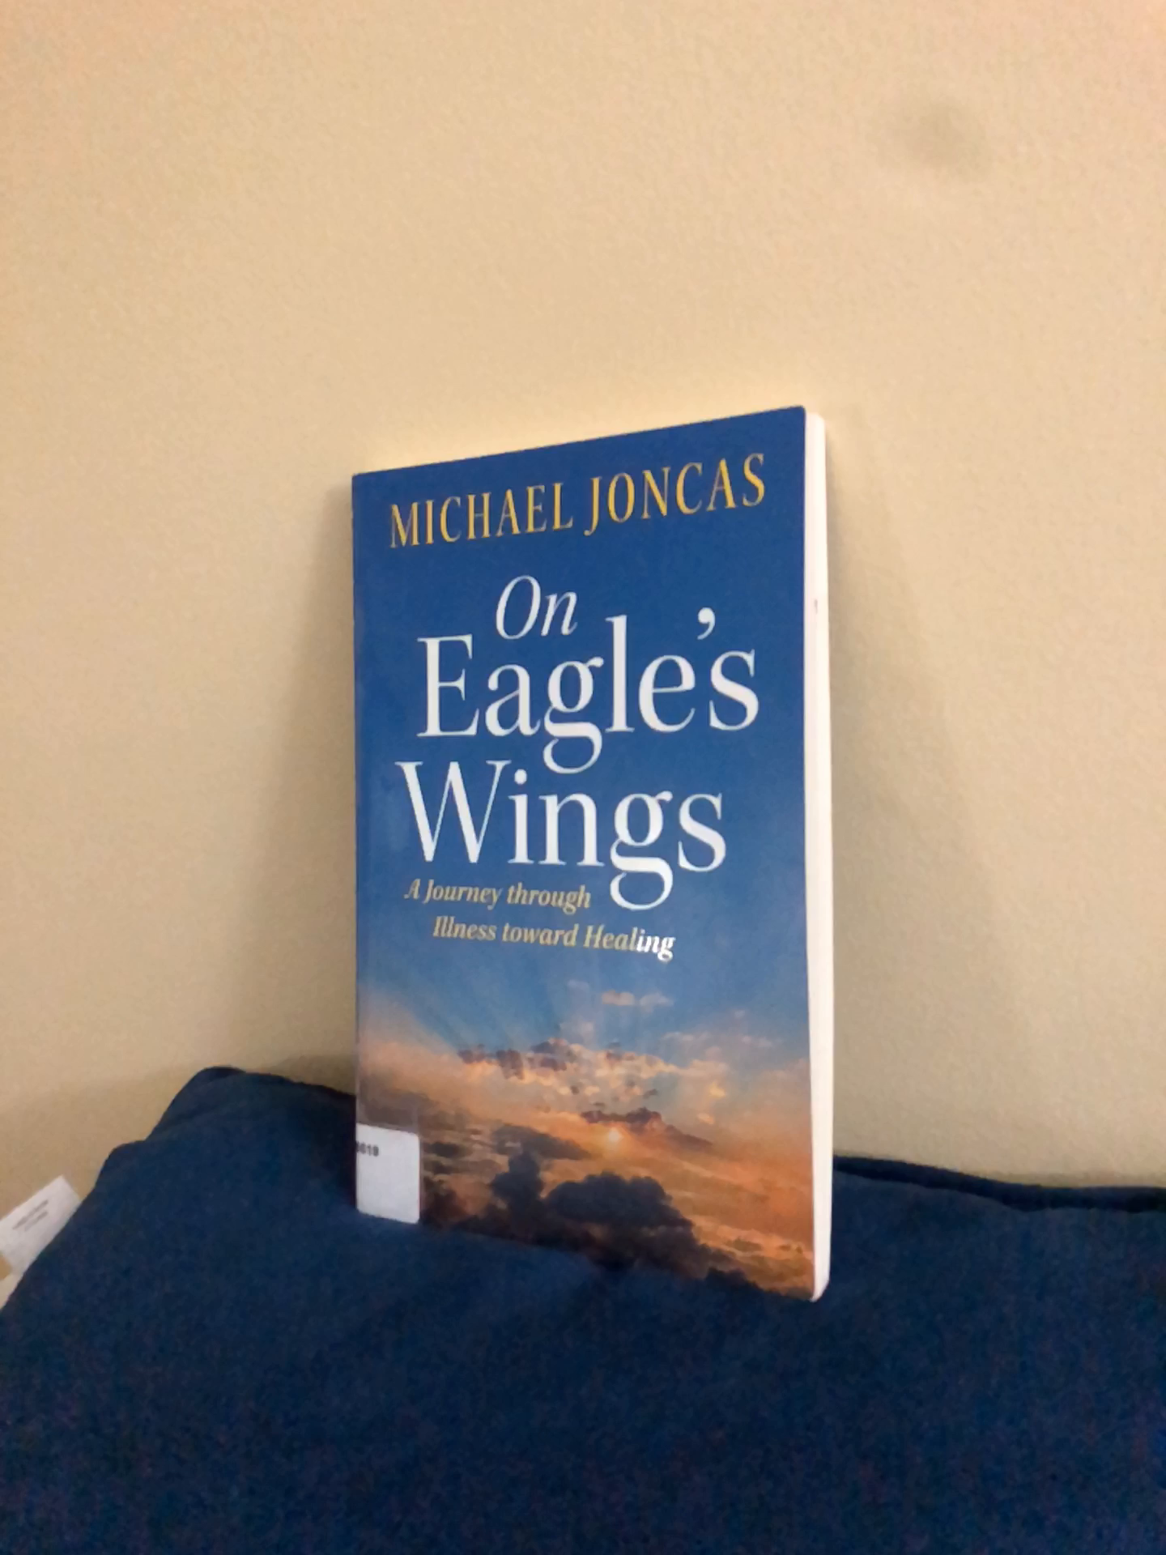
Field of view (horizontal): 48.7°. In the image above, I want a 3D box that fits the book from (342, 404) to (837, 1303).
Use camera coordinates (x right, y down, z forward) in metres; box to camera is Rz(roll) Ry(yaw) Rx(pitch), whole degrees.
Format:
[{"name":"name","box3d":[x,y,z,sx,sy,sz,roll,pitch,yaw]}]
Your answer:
[{"name":"book","box3d":[-0.003,0.017,0.341,0.139,0.211,0.014,0,-1,29]}]
